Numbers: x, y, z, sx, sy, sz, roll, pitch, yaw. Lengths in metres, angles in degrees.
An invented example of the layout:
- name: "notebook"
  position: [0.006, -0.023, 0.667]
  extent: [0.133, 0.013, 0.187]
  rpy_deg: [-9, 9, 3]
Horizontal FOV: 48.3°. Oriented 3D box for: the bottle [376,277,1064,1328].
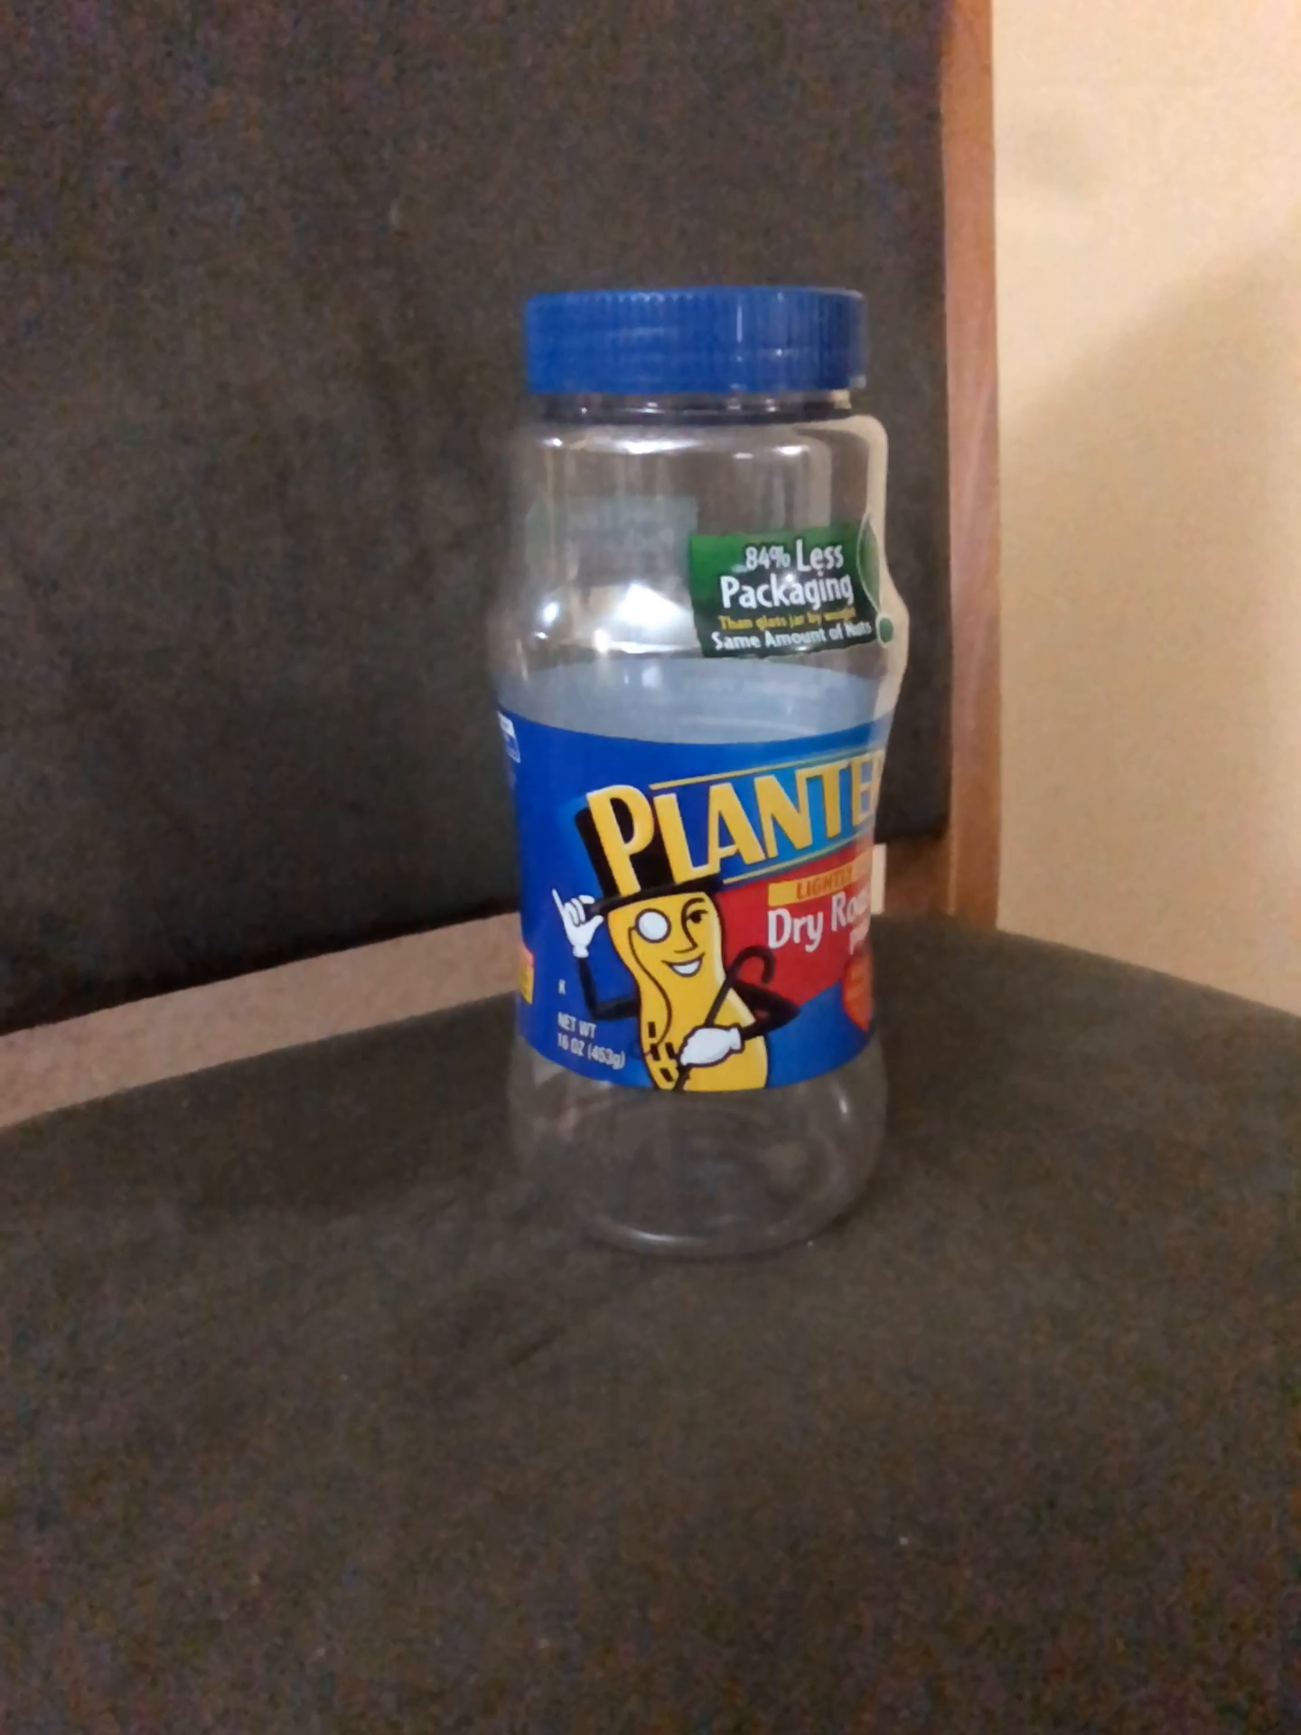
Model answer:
- name: "bottle"
  position: [0.009, -0.019, 0.277]
  extent: [0.090, 0.170, 0.080]
  rpy_deg: [-10, 22, -26]
